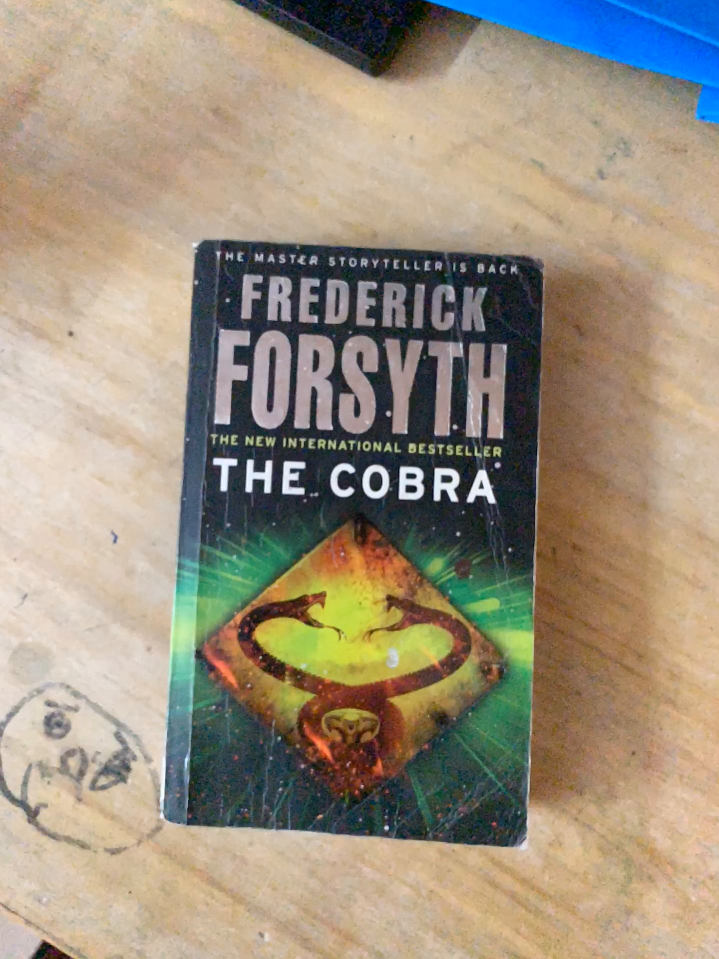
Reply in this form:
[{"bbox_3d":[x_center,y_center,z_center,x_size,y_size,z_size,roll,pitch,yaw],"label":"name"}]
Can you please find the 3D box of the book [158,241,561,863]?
[{"bbox_3d":[0.001,0.018,0.220,0.100,0.040,0.160,2,86,0],"label":"book"}]
